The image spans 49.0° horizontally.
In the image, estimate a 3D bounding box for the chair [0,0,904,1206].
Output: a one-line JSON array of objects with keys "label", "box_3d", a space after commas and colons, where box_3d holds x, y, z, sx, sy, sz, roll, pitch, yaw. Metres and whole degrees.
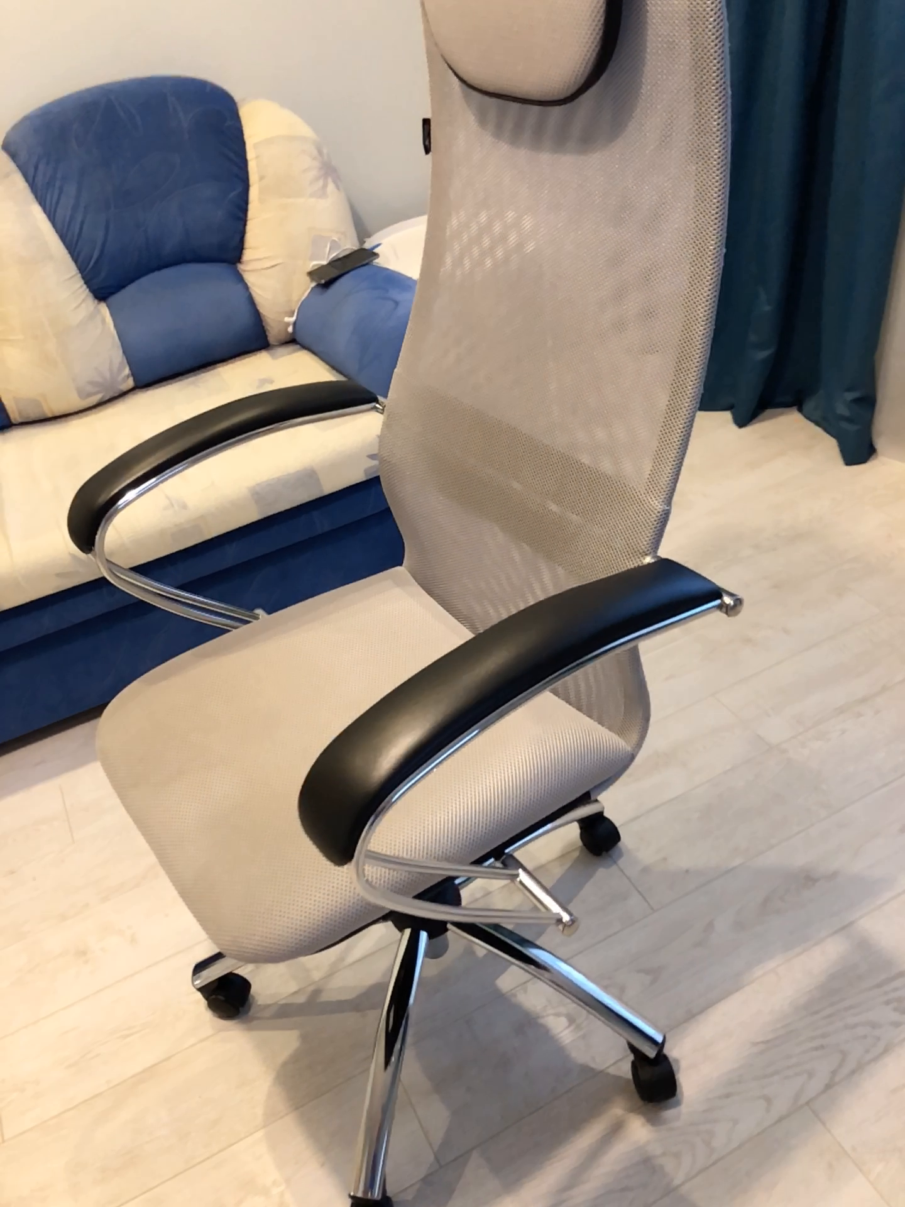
[{"label": "chair", "box_3d": [-0.090, -0.029, 0.991, 0.691, 1.152, 0.684, -24, 38, -19]}]
